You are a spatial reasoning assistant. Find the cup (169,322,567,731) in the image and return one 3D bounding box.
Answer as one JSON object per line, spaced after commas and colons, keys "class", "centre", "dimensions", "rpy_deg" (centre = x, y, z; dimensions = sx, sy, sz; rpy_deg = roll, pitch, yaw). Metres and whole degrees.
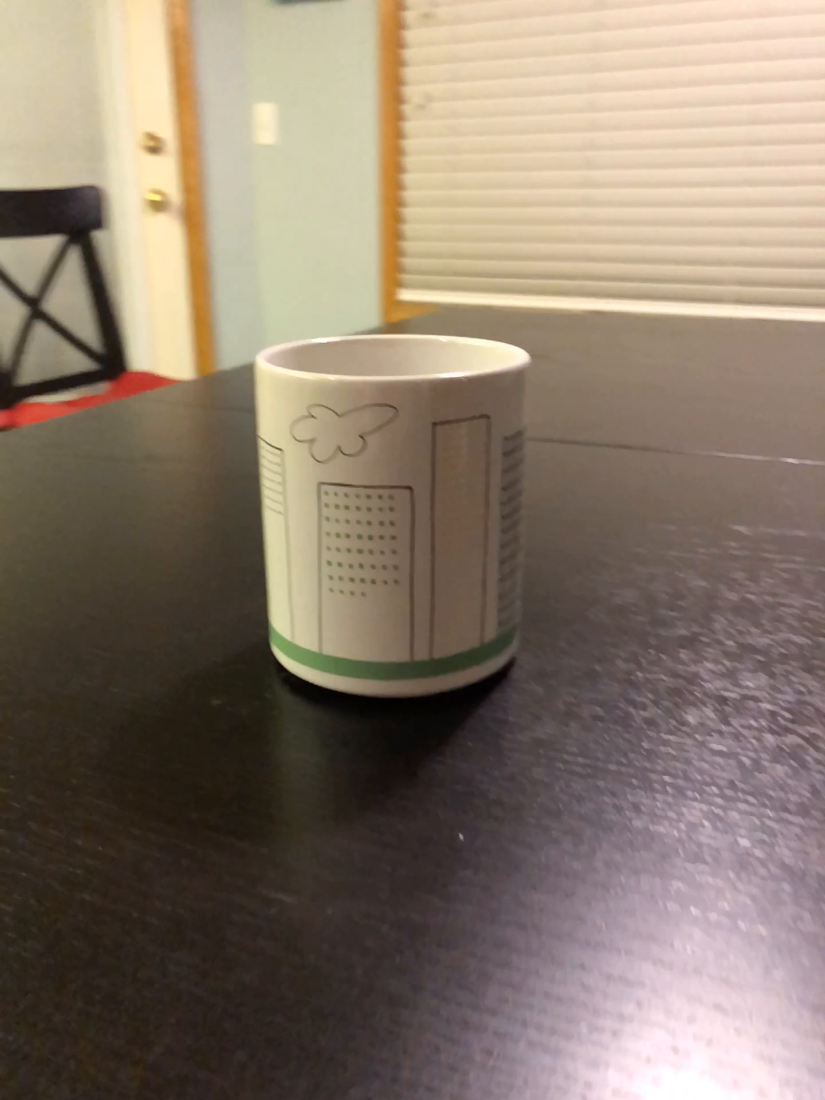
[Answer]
{"class": "cup", "centre": [-0.005, -0.021, 0.324], "dimensions": [0.090, 0.100, 0.130], "rpy_deg": [7, 21, 18]}
